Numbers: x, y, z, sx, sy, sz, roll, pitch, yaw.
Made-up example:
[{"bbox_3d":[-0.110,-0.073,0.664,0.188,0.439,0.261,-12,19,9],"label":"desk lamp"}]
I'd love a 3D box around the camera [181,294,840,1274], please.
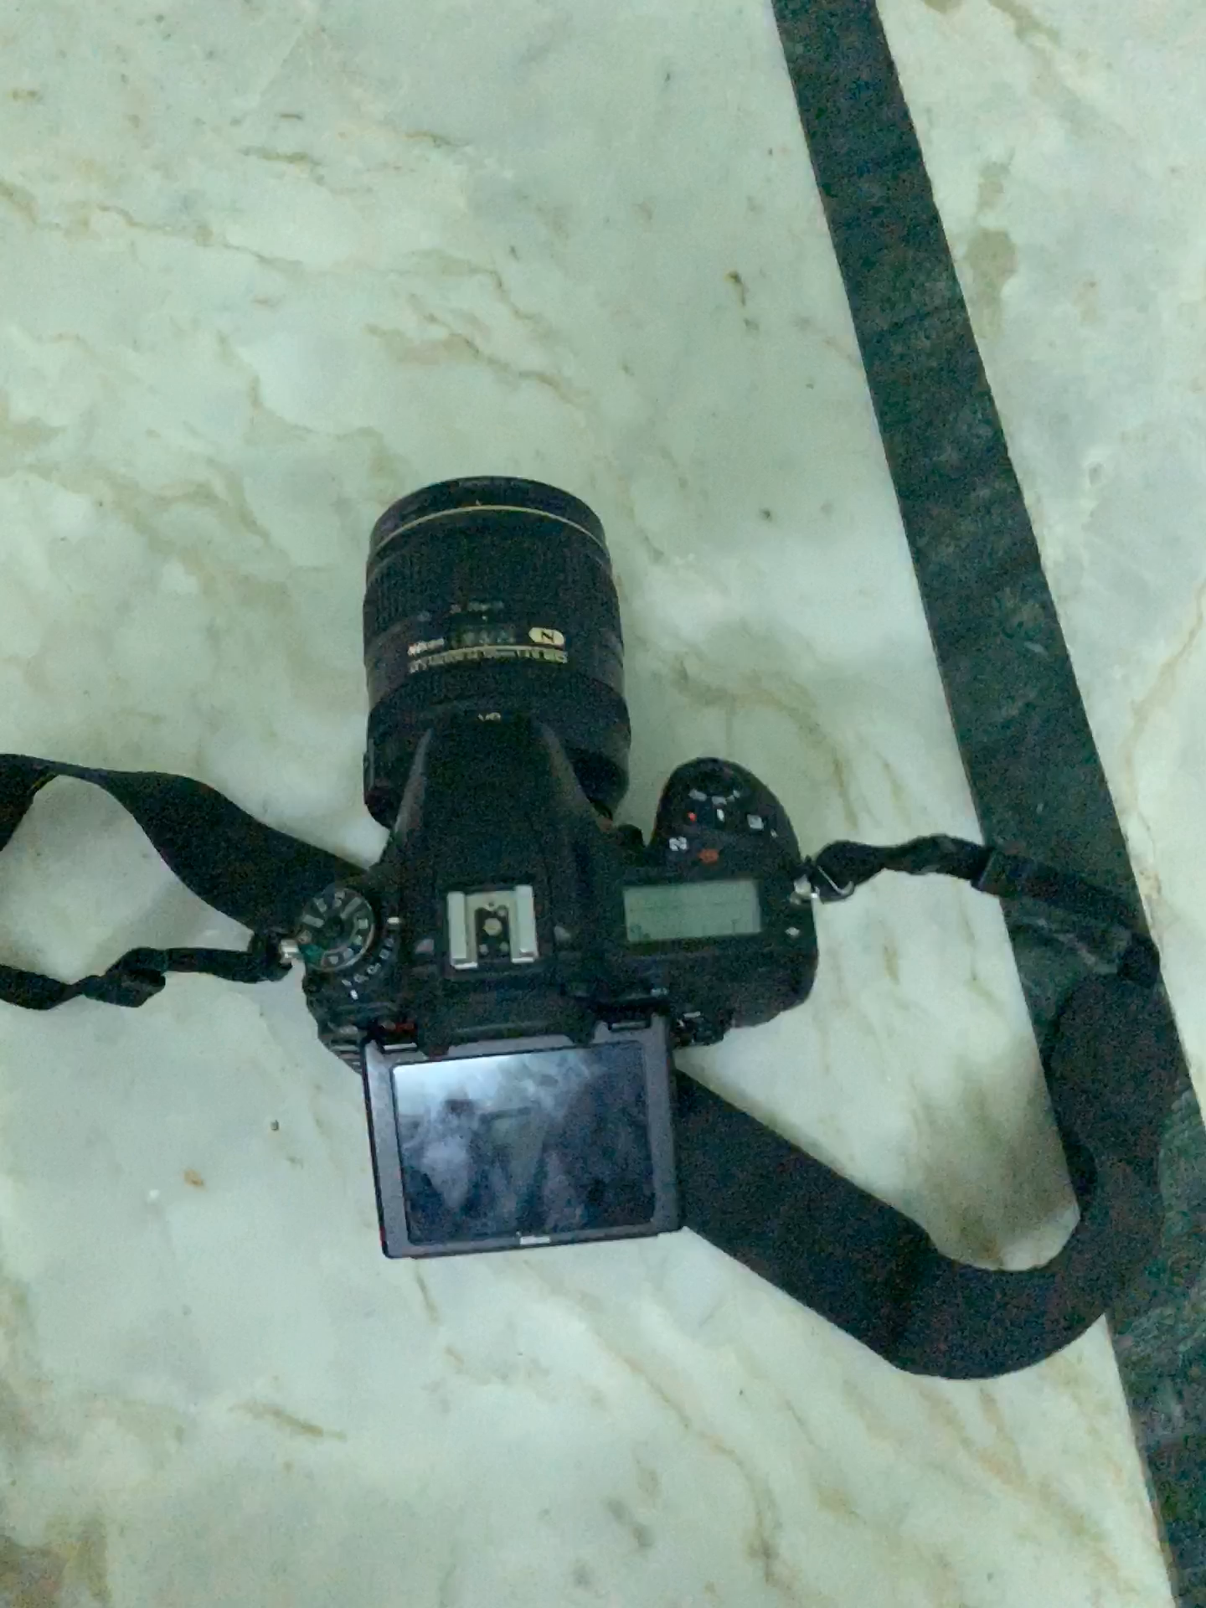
[{"bbox_3d":[-0.030,-0.006,0.365,0.146,0.100,0.258,-5,70,-1],"label":"camera"}]
